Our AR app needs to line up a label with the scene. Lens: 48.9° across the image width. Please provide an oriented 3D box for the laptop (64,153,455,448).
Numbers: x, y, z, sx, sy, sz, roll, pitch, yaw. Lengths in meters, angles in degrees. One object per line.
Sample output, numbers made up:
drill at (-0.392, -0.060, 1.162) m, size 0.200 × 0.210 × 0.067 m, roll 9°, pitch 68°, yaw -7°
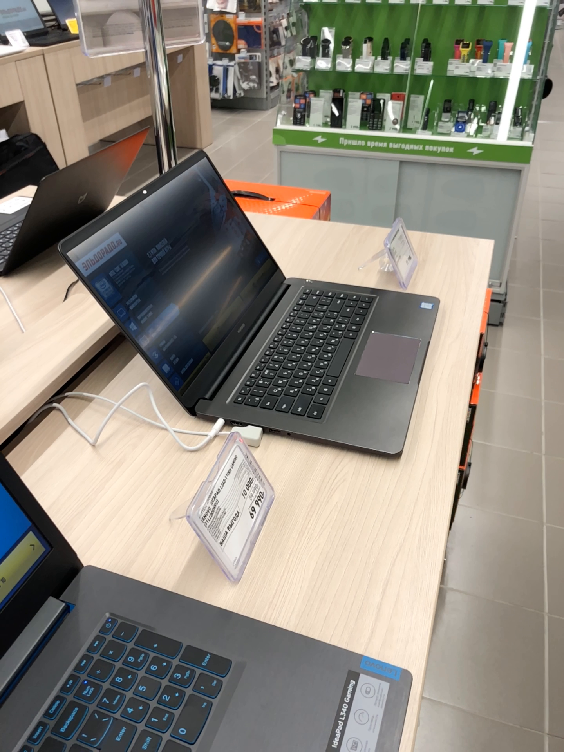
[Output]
laptop at (0.004, -0.124, 0.769) m, size 0.357 × 0.180 × 0.346 m, roll 10°, pitch 36°, yaw 14°

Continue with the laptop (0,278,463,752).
laptop at (-0.153, 0.178, 0.269) m, size 0.378 × 0.242 × 0.394 m, roll 11°, pitch 36°, yaw 17°
